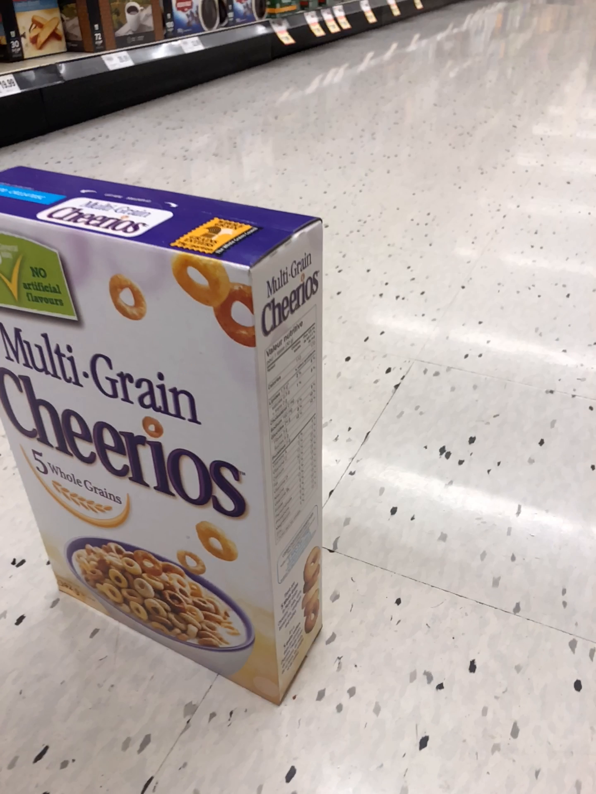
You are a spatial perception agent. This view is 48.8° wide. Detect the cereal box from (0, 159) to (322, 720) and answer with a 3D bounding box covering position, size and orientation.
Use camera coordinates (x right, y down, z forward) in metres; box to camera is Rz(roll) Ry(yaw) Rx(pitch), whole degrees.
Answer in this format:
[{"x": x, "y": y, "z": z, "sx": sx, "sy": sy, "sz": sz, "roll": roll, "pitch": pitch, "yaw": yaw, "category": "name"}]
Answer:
[{"x": -0.085, "y": 0.037, "z": 0.387, "sx": 0.190, "sy": 0.308, "sz": 0.060, "roll": 16, "pitch": 38, "yaw": 24, "category": "cereal box"}]
